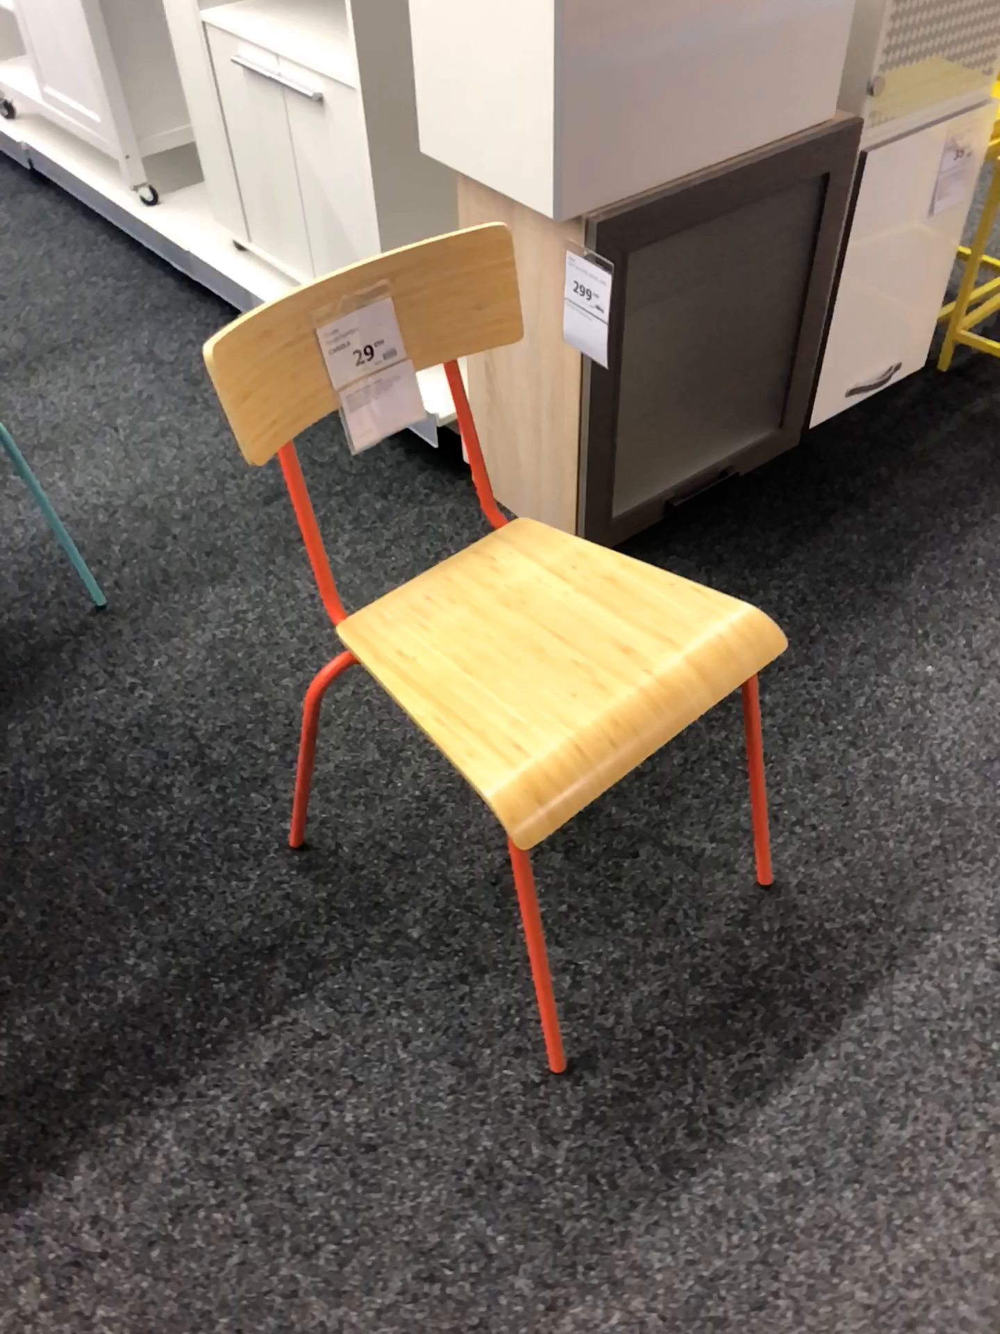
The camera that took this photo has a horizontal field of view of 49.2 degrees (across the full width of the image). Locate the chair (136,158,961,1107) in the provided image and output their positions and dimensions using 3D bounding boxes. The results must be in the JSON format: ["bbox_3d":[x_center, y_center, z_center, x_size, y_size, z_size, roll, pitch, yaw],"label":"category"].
[{"bbox_3d":[0.045,-0.031,1.280,0.502,0.816,0.561,-33,52,-27],"label":"chair"}]
